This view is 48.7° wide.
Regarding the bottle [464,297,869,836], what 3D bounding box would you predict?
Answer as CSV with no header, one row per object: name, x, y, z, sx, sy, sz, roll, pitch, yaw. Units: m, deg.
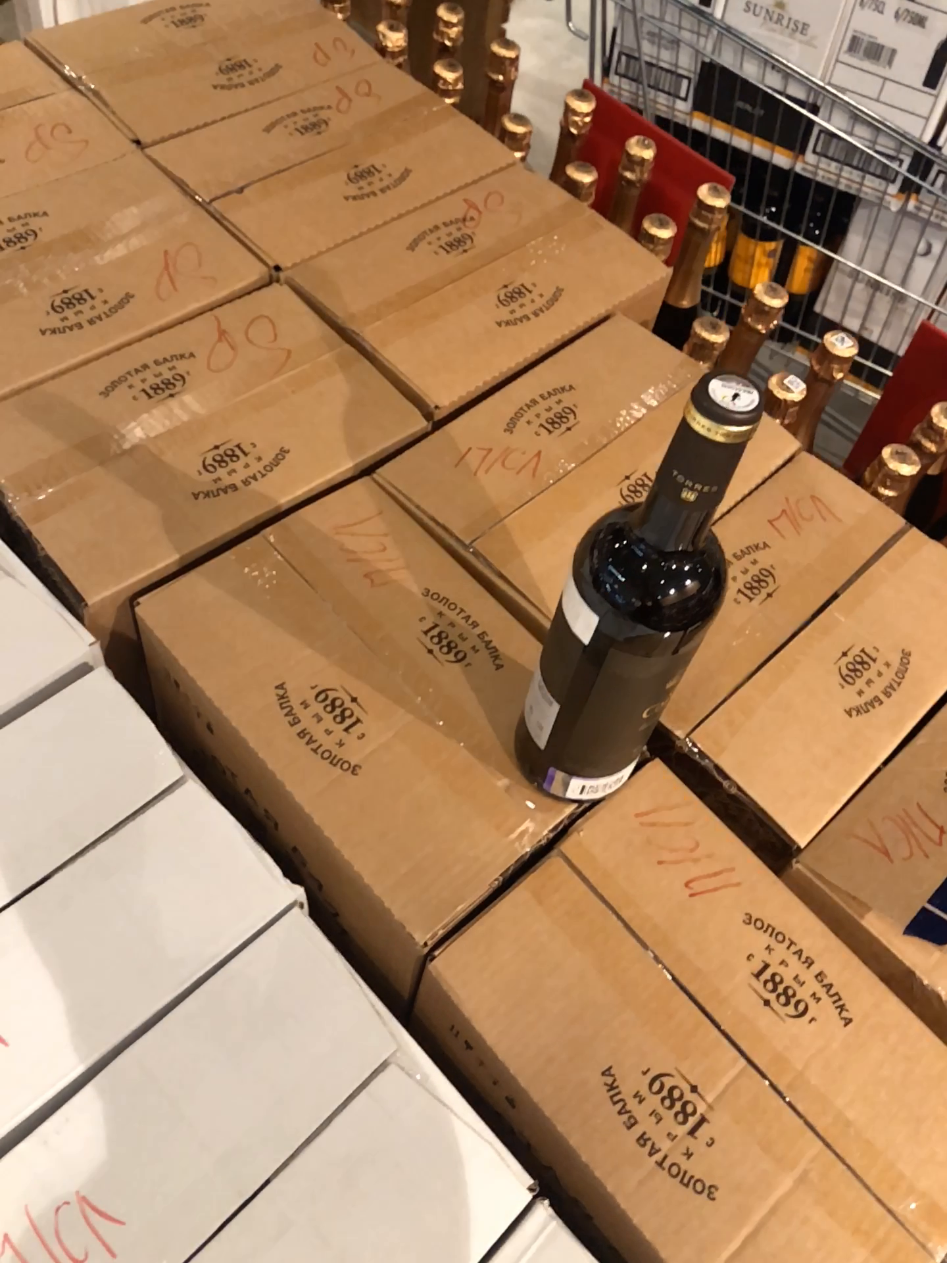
bottle,0.077,-0.011,0.521,0.090,0.278,0.090,4,56,-7
